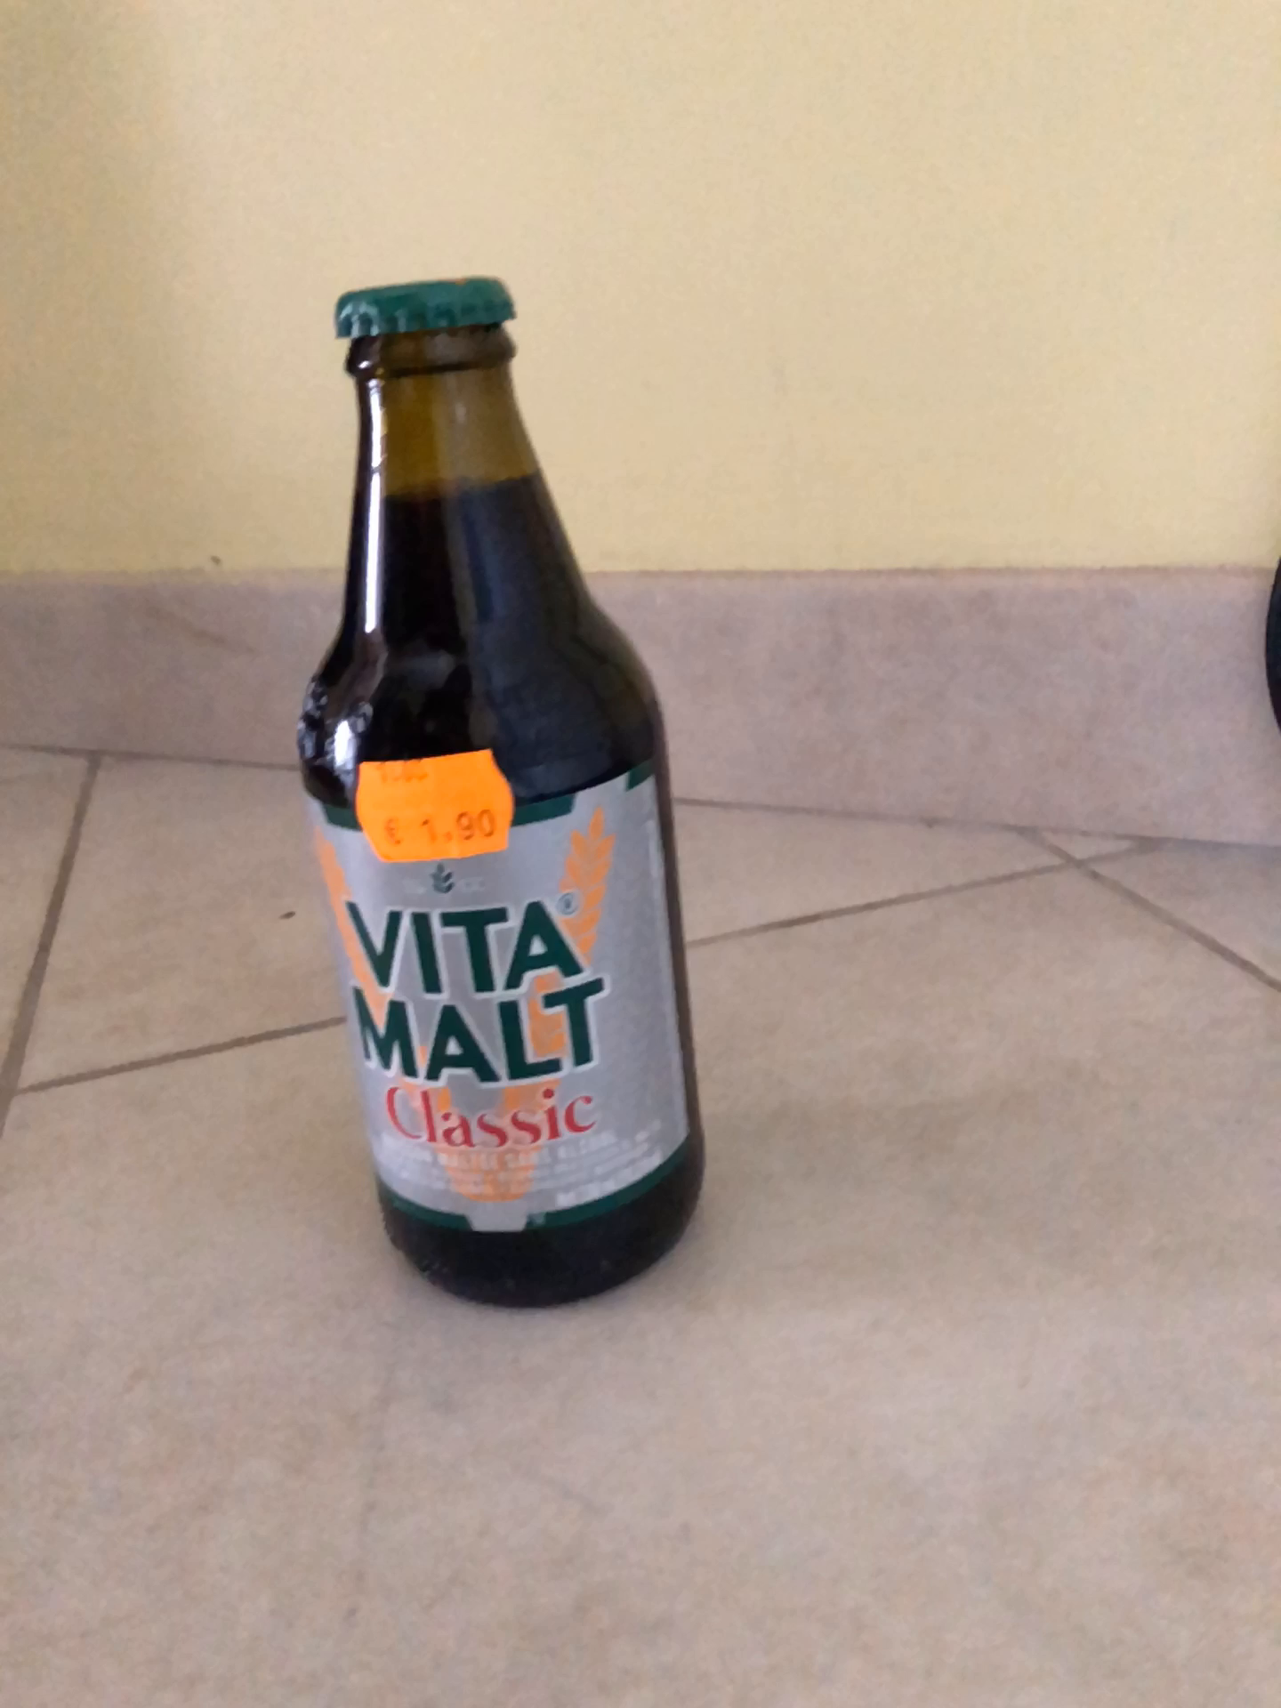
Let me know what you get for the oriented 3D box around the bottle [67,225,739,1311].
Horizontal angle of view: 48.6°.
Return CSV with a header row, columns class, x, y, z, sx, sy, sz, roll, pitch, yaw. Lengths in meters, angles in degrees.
class,x,y,z,sx,sy,sz,roll,pitch,yaw
bottle,-0.028,-0.014,0.247,0.070,0.169,0.070,-5,22,2
